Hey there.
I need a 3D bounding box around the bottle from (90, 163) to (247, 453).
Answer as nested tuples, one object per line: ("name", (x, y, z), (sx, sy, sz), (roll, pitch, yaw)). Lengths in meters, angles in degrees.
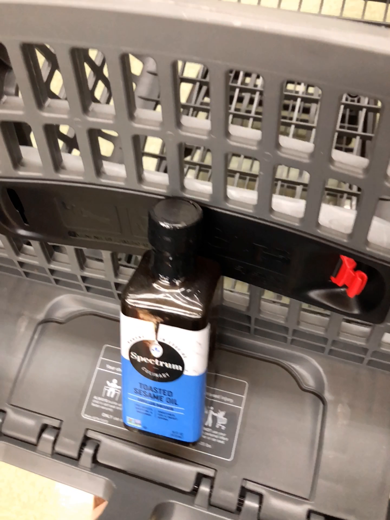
("bottle", (-0.016, 0.044, 0.296), (0.070, 0.200, 0.060), (11, 39, 10))
